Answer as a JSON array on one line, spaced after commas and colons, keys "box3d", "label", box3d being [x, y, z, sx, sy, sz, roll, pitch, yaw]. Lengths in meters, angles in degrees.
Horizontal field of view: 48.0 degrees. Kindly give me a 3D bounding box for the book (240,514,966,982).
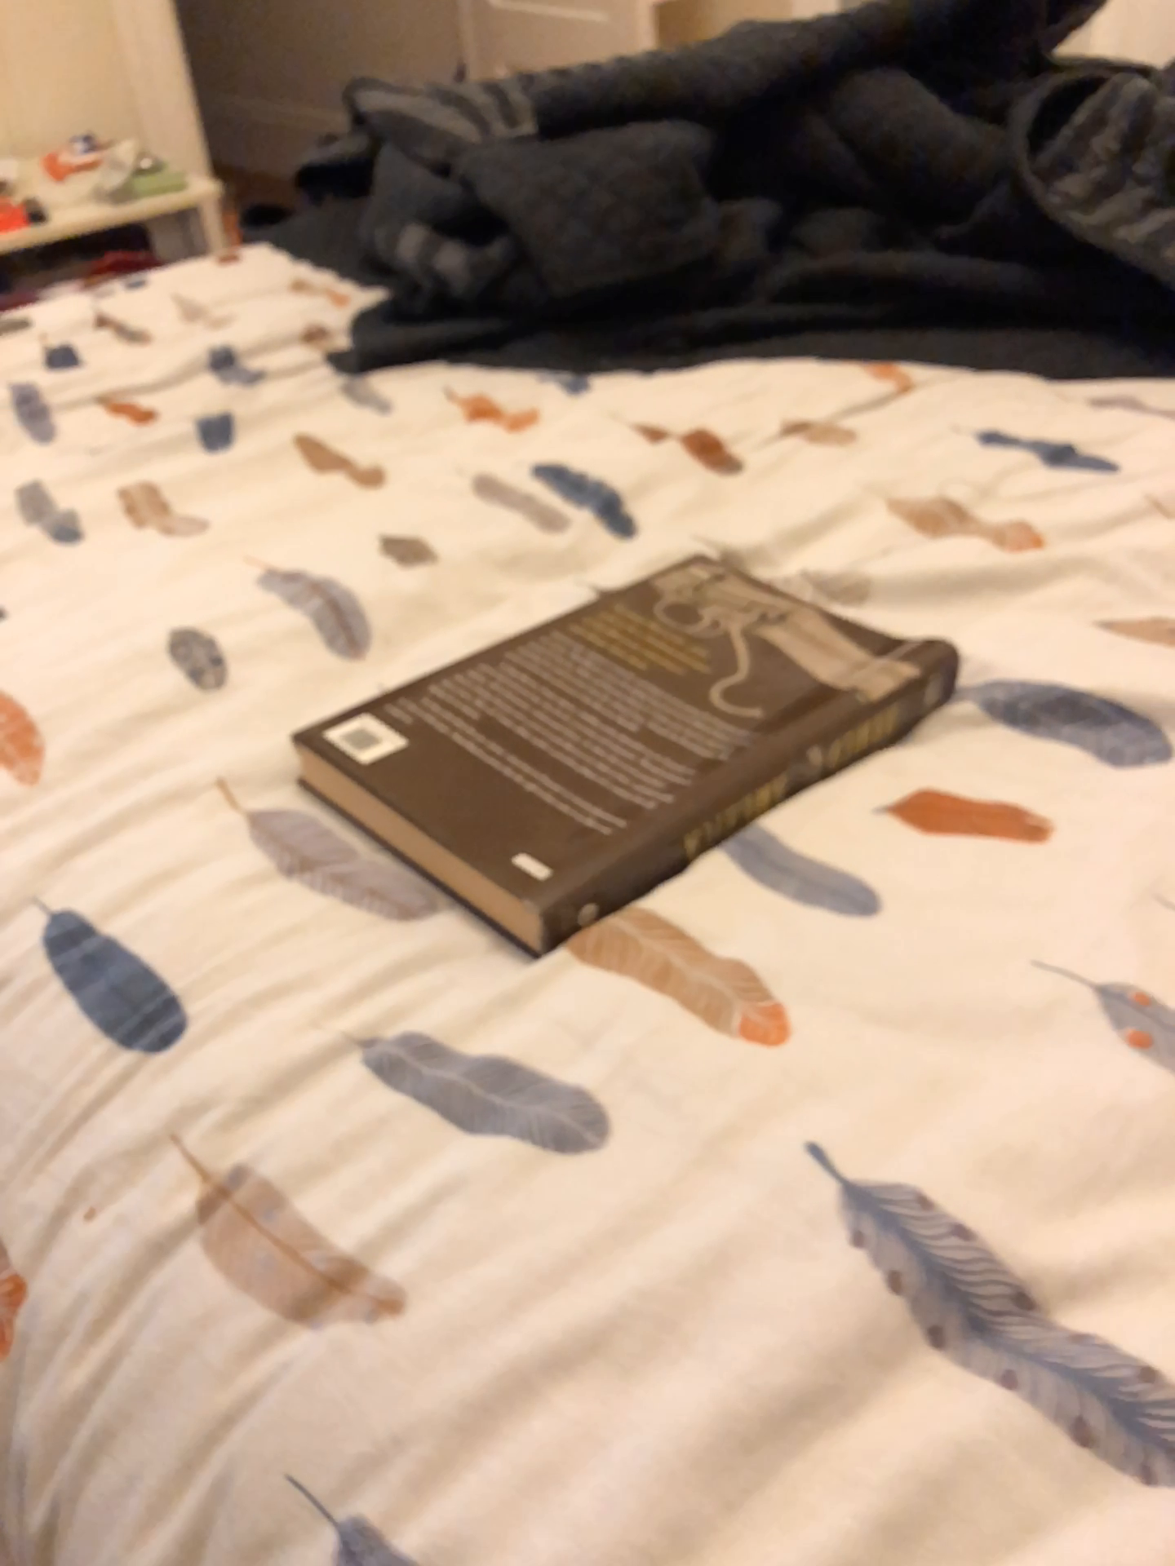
[{"box3d": [0.008, -0.034, 0.550, 0.241, 0.030, 0.181, -30, 42, -30], "label": "book"}]
